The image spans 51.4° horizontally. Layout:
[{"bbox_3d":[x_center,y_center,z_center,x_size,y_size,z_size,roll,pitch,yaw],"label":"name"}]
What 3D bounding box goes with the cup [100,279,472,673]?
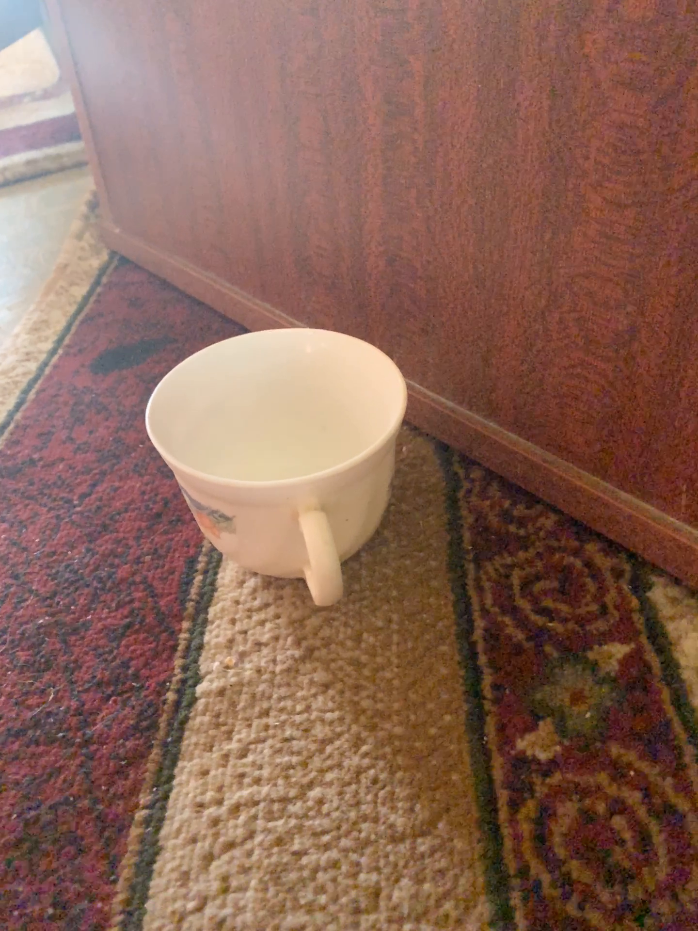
[{"bbox_3d":[-0.025,-0.006,0.233,0.082,0.053,0.110,-16,40,-15],"label":"cup"}]
